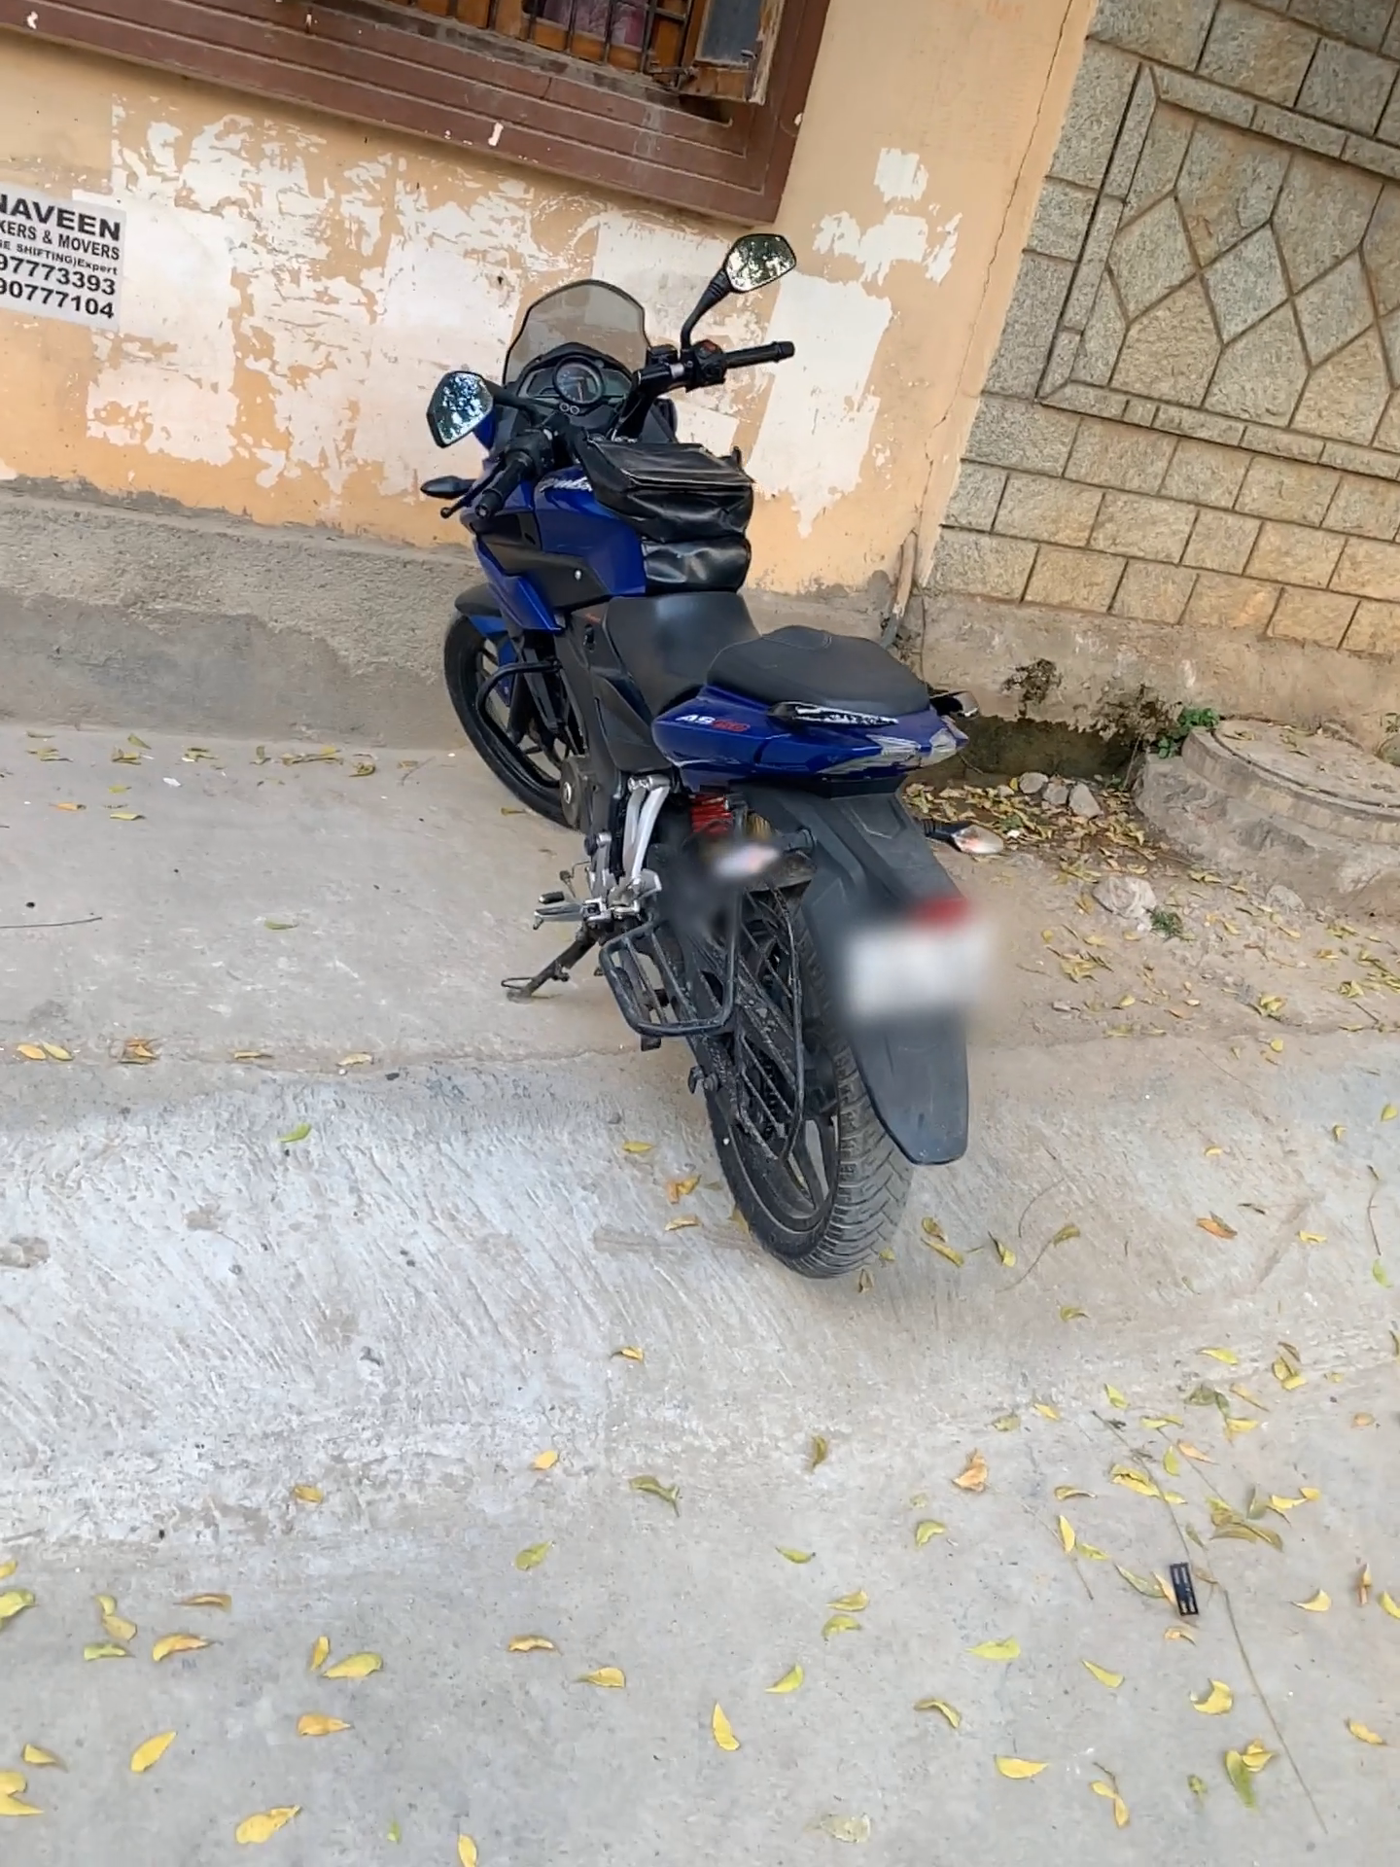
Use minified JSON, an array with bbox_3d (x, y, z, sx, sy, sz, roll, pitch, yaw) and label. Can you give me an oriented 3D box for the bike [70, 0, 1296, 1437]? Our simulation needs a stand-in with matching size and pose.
[{"bbox_3d":[-0.252,-0.426,2.169,0.954,1.218,1.571,-4,39,-32],"label":"bike"}]
